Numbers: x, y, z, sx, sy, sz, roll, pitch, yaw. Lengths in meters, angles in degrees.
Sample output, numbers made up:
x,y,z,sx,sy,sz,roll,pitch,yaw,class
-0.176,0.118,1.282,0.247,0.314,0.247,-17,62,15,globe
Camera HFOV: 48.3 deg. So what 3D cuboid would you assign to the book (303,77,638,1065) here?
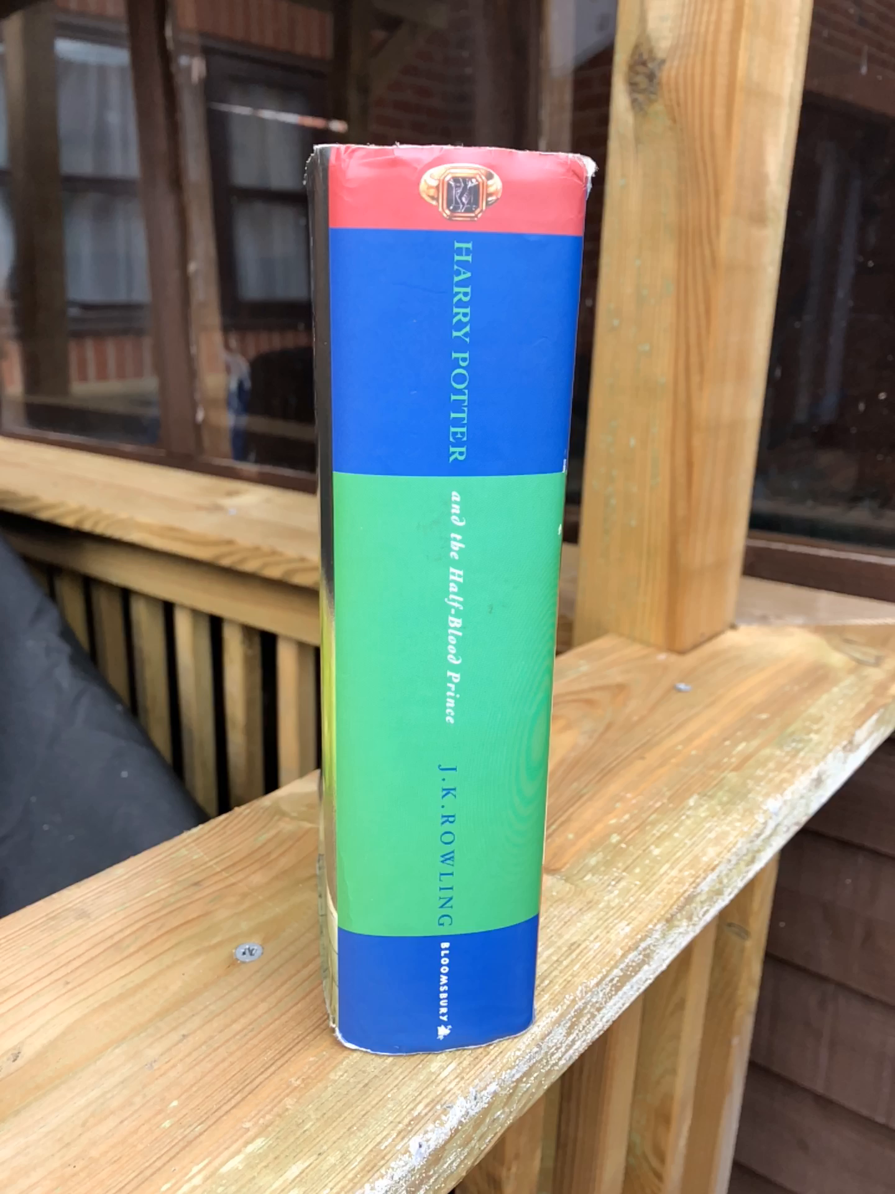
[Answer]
x,y,z,sx,sy,sz,roll,pitch,yaw,class
-0.006,-0.012,0.277,0.060,0.209,0.141,-2,16,-9,book
